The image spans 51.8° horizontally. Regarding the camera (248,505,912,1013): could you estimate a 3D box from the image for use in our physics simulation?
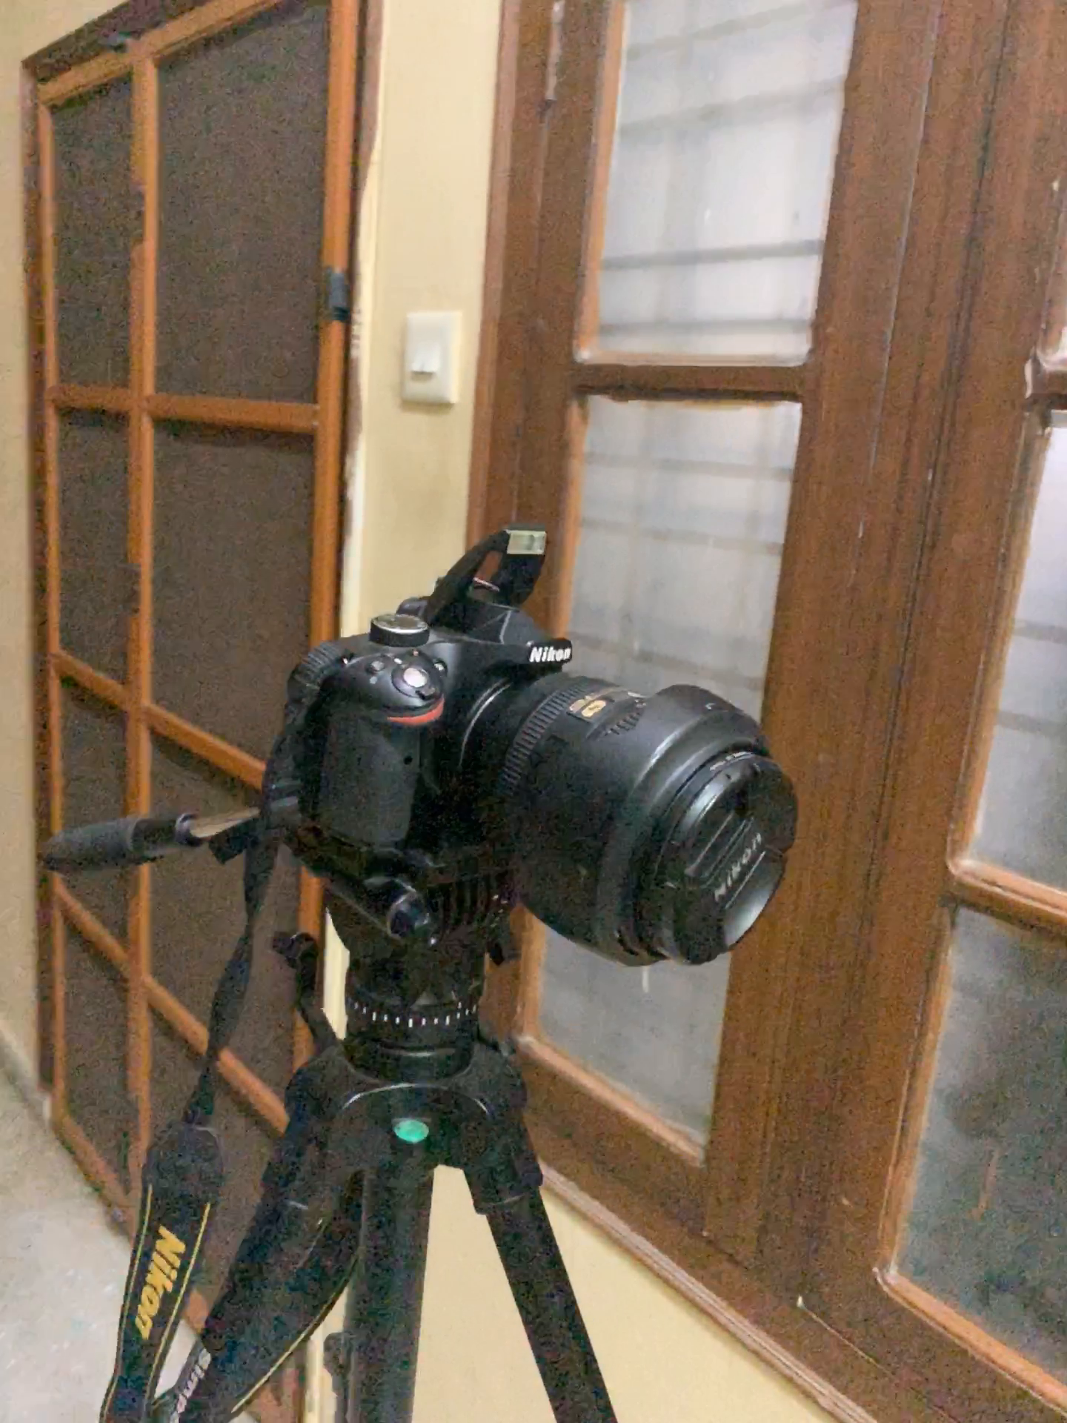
[{"bbox_3d":[0.009,-0.004,0.430,0.200,0.129,0.150,17,18,42],"label":"camera"}]
